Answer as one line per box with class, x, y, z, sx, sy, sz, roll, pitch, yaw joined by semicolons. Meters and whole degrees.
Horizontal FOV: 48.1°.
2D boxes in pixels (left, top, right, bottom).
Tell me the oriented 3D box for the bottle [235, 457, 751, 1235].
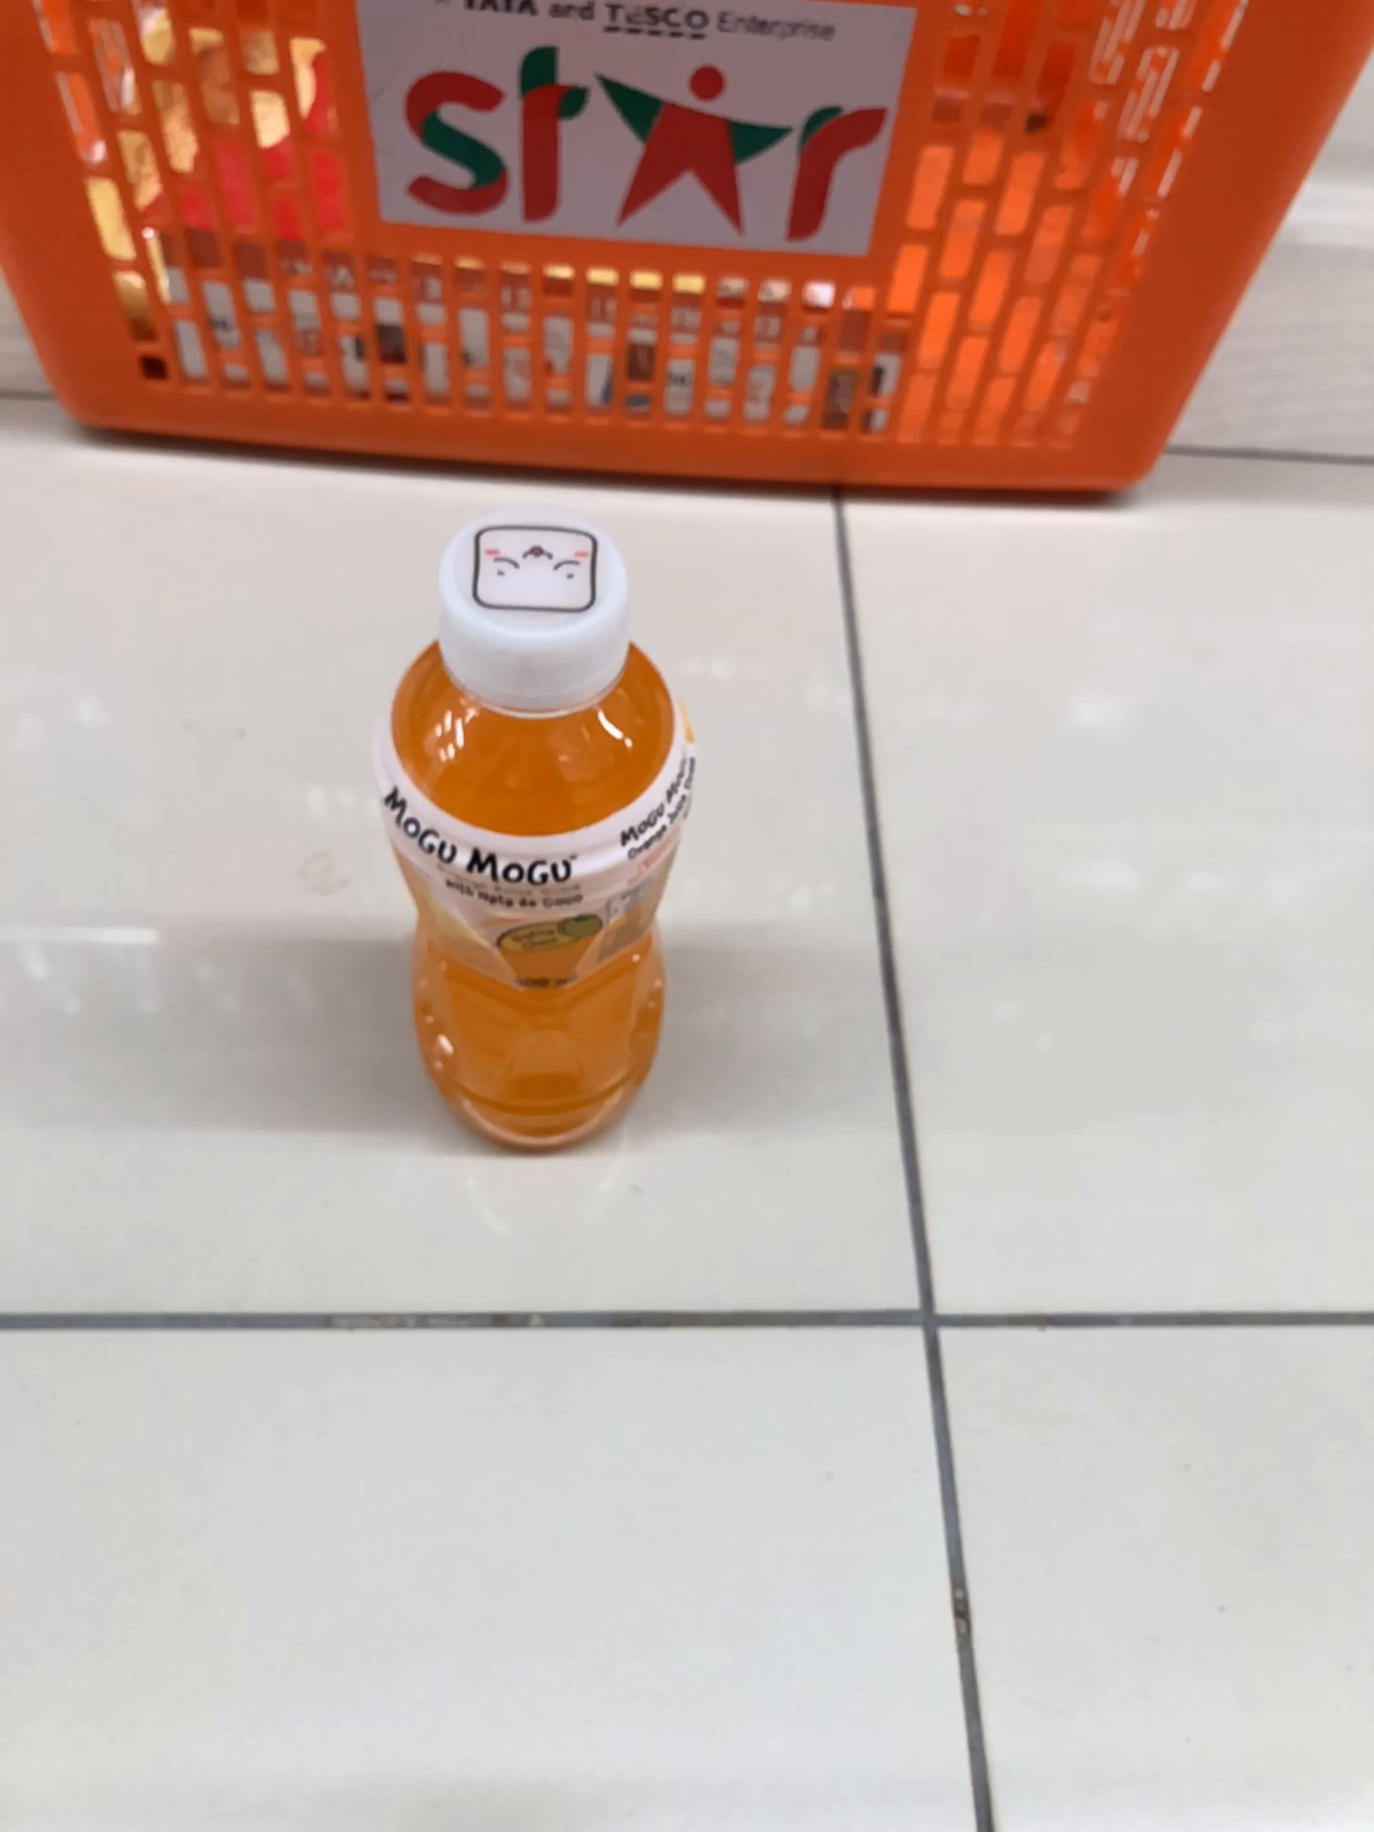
bottle;-0.034;-0.001;0.300;0.060;0.159;0.050;26;59;11
